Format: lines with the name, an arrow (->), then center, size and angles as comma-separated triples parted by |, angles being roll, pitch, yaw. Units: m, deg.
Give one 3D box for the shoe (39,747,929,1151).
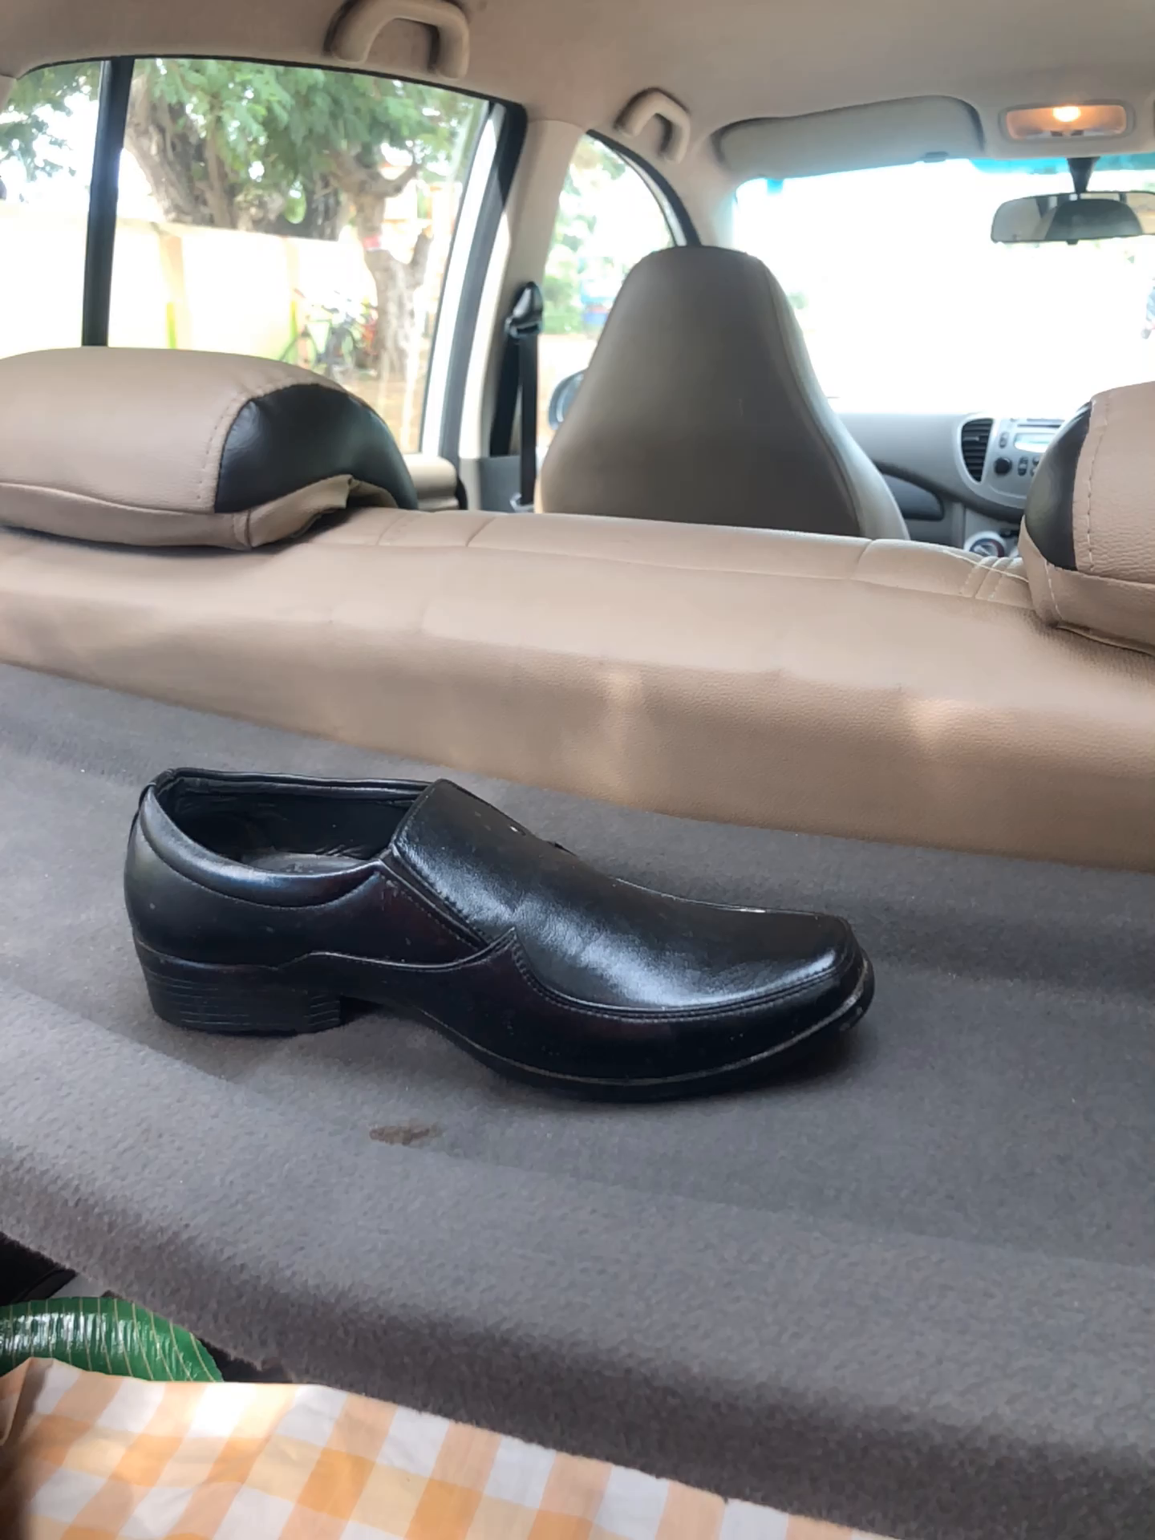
shoe -> -0.030, 0.056, 0.472 | 0.300, 0.080, 0.101 | 4, 21, 12
